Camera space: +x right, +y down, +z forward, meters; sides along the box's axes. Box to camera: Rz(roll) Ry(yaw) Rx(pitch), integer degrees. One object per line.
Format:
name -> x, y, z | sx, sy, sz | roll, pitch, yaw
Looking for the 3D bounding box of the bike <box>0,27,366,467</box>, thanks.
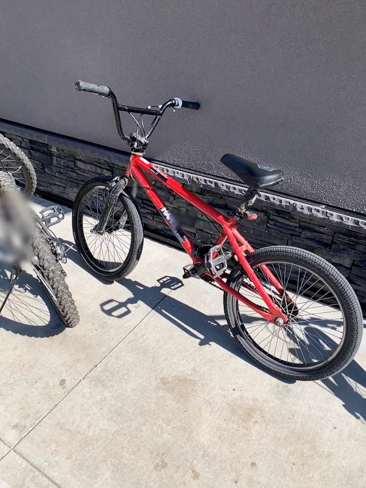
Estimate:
bike -> 0.092, -0.172, 1.428 | 1.314, 0.908, 0.776 | 27, 37, 27
